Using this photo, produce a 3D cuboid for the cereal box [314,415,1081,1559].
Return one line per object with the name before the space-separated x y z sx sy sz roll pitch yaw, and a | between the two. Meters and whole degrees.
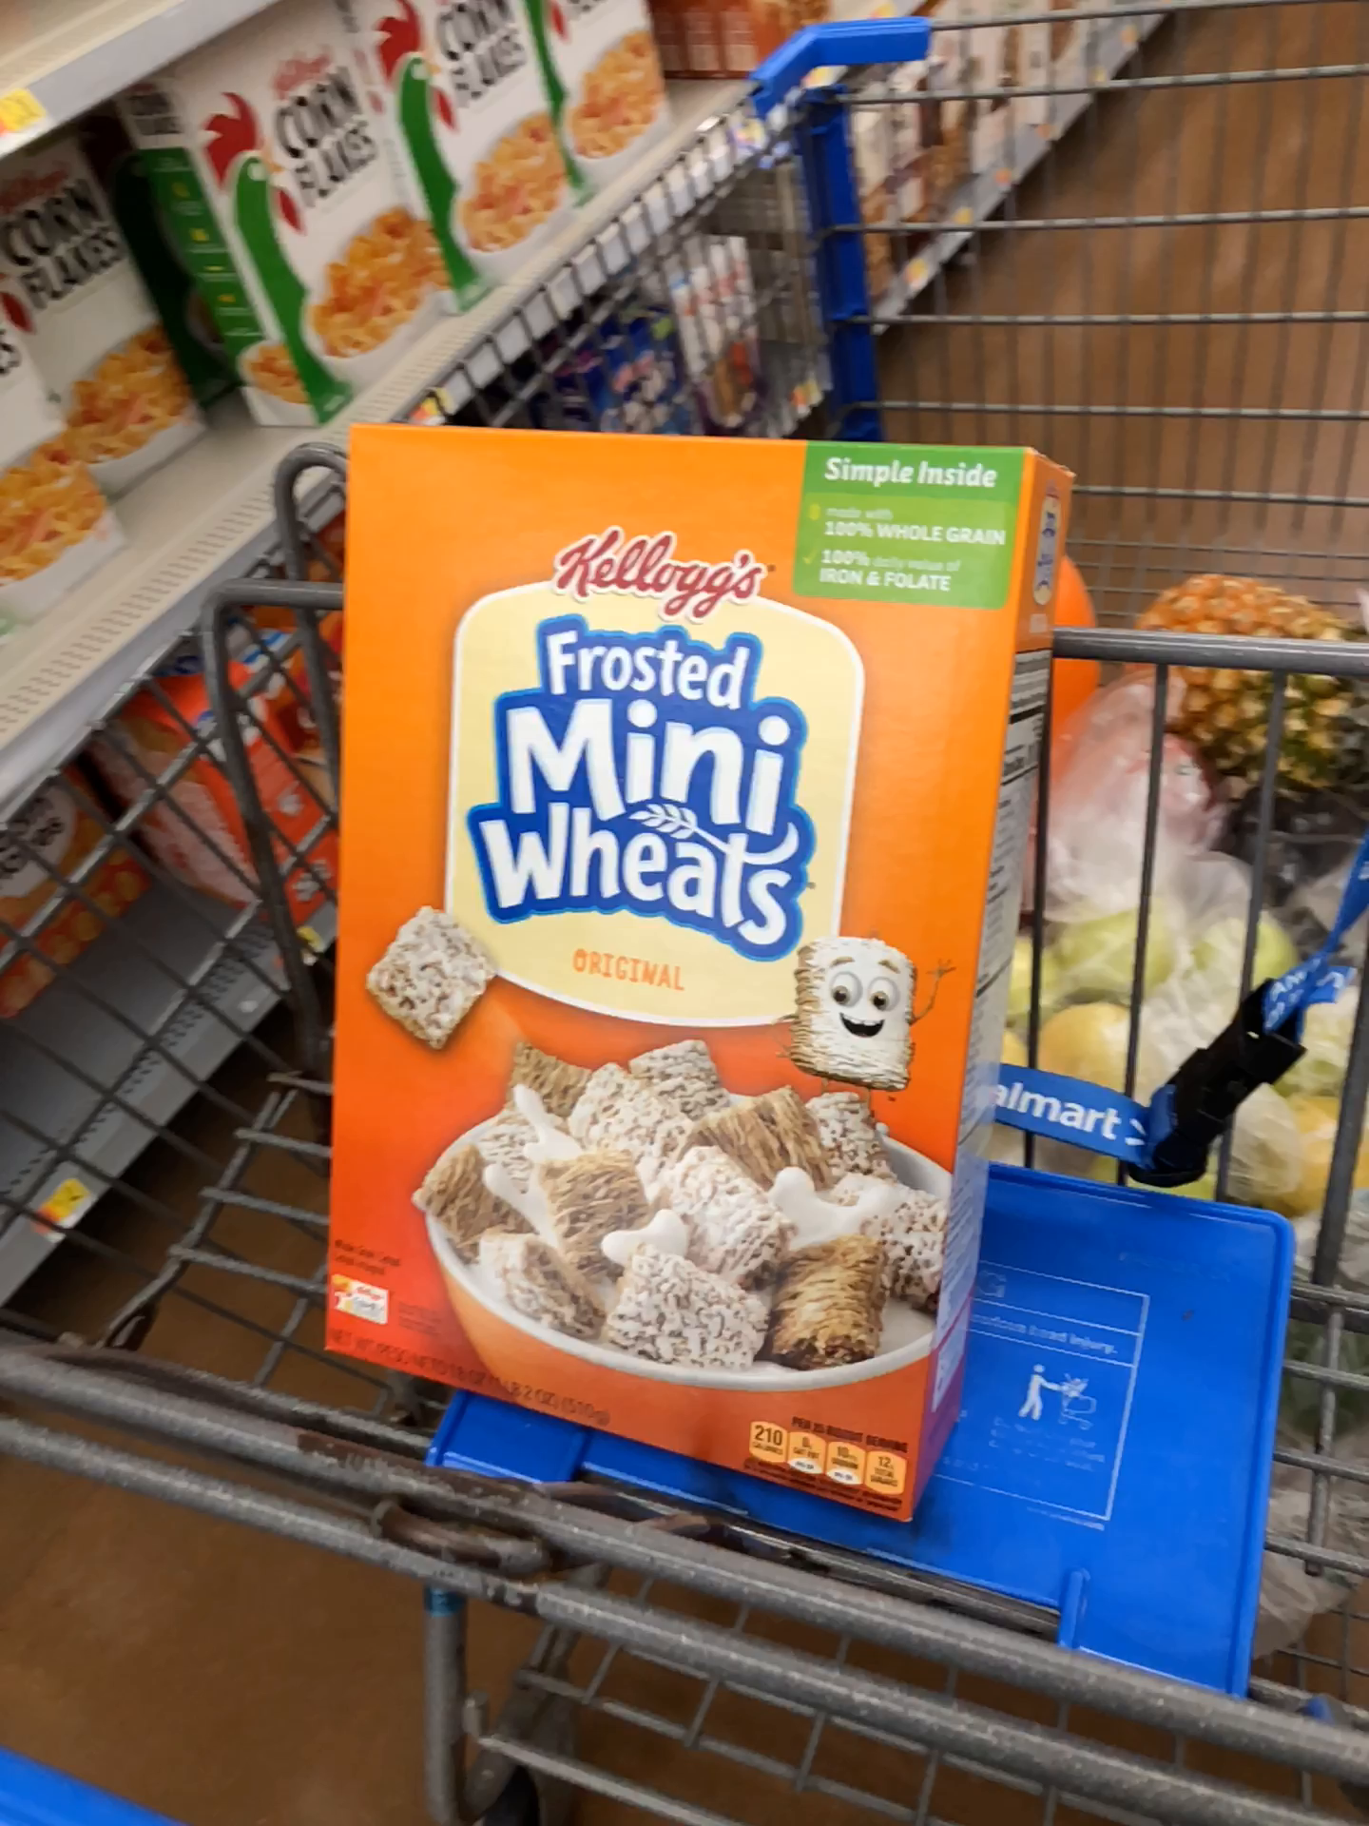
cereal box | -0.003 0.013 0.443 0.190 0.290 0.070 9 12 20
